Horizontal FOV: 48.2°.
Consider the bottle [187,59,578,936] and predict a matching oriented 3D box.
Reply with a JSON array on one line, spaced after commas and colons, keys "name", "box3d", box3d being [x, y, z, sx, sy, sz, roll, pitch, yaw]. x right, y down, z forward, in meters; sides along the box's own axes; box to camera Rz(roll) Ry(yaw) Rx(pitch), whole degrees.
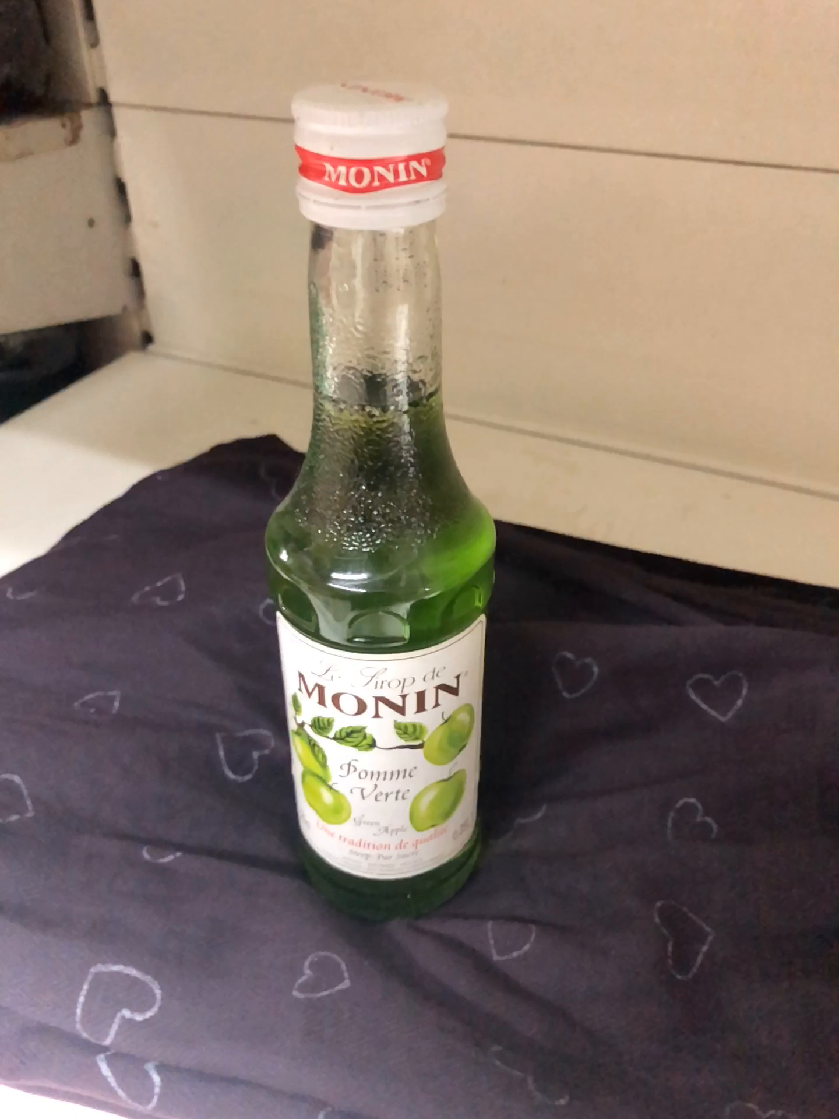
[{"name": "bottle", "box3d": [-0.003, -0.002, 0.222, 0.060, 0.199, 0.060, 0, 34, 0]}]
